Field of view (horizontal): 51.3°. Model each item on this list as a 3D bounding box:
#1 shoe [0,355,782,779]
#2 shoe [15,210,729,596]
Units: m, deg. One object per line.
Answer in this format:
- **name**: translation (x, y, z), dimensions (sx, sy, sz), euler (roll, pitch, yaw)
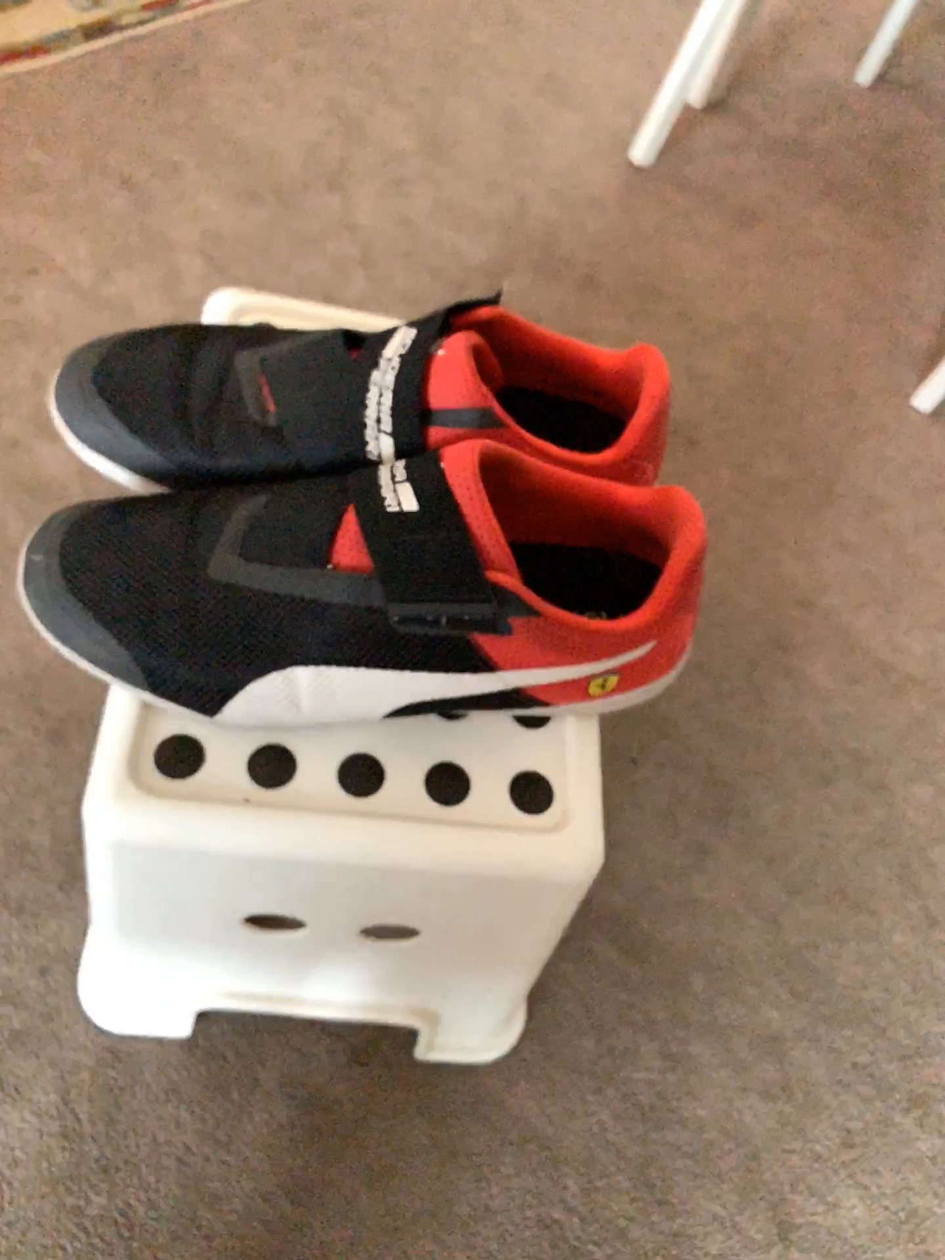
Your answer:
- **shoe**: translation (-0.037, -0.019, 0.423), dimensions (0.300, 0.099, 0.111), euler (6, 59, -10)
- **shoe**: translation (-0.042, -0.102, 0.480), dimensions (0.300, 0.099, 0.101), euler (6, 59, -10)
